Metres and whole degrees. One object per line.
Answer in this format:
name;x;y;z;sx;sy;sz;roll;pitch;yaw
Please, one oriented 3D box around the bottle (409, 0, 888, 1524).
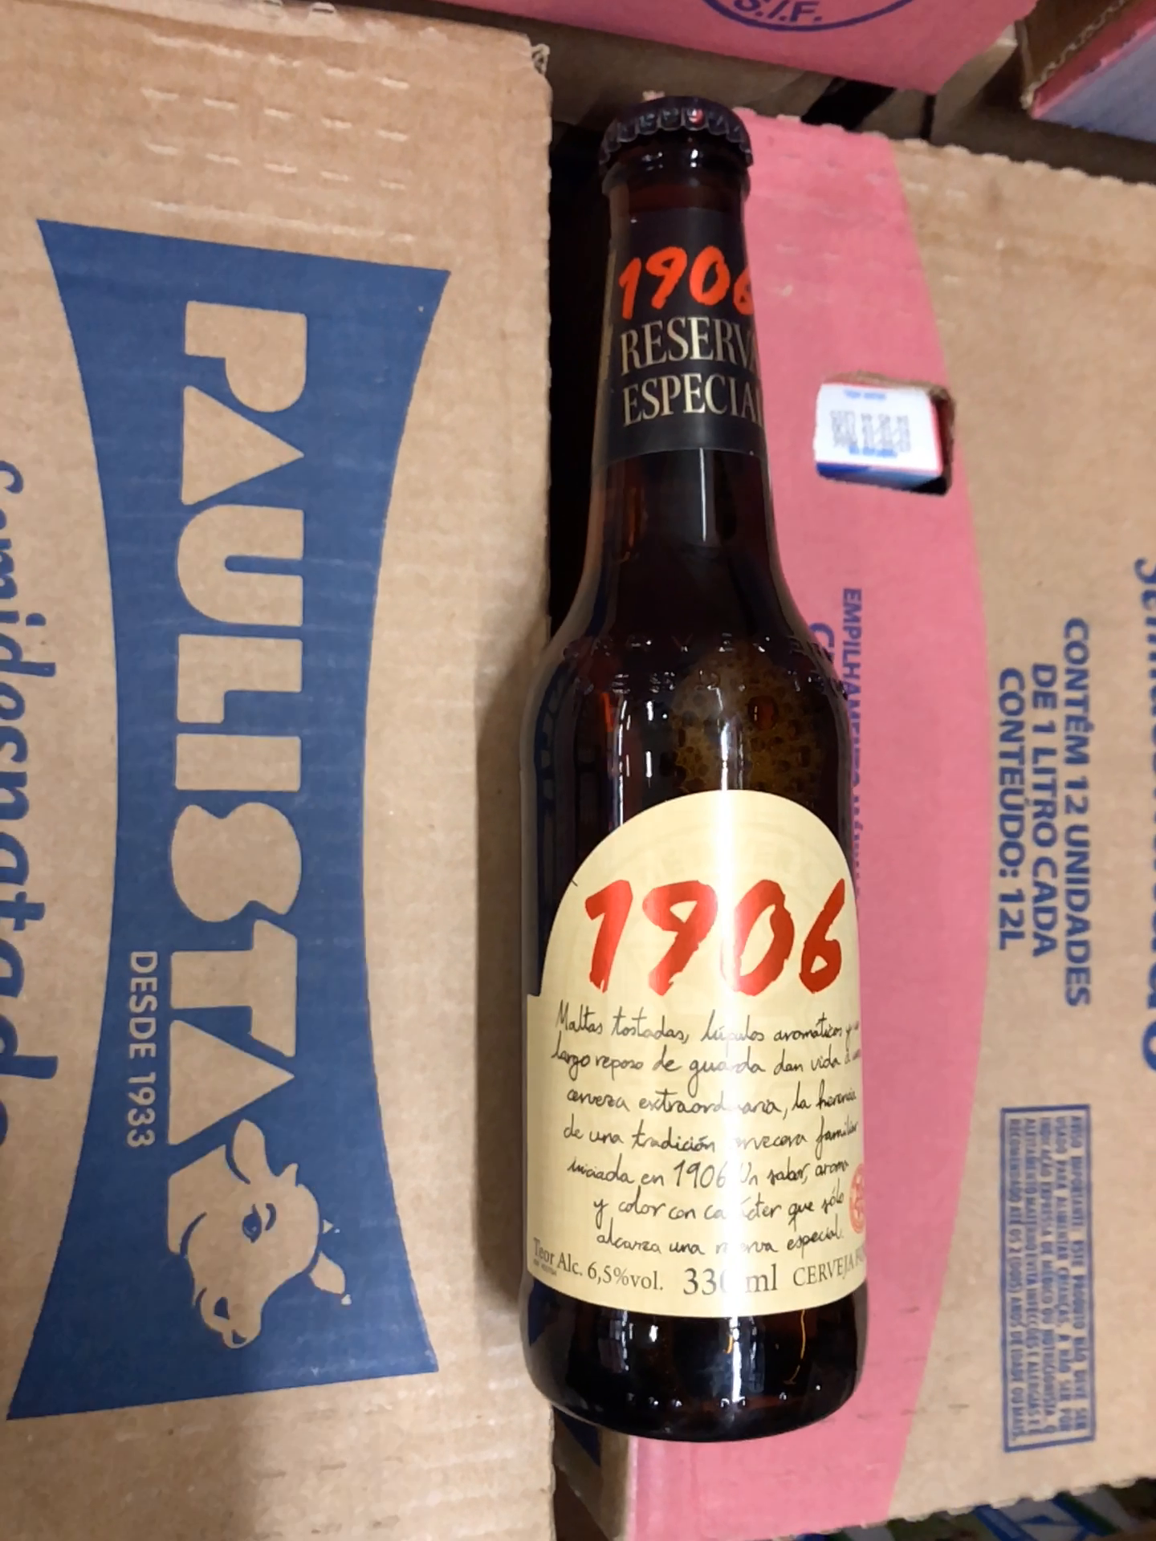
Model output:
bottle;0.011;-0.016;0.246;0.070;0.060;0.270;2;88;-19
